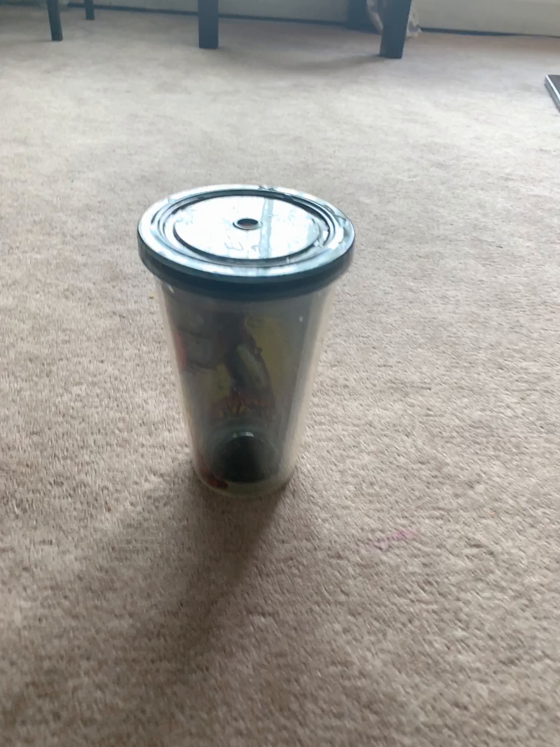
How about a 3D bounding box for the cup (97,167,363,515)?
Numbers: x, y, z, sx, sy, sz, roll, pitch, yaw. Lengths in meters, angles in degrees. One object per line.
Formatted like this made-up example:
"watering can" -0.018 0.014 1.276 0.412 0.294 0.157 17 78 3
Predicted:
"cup" -0.033 -0.020 0.302 0.100 0.139 0.101 3 37 -2
